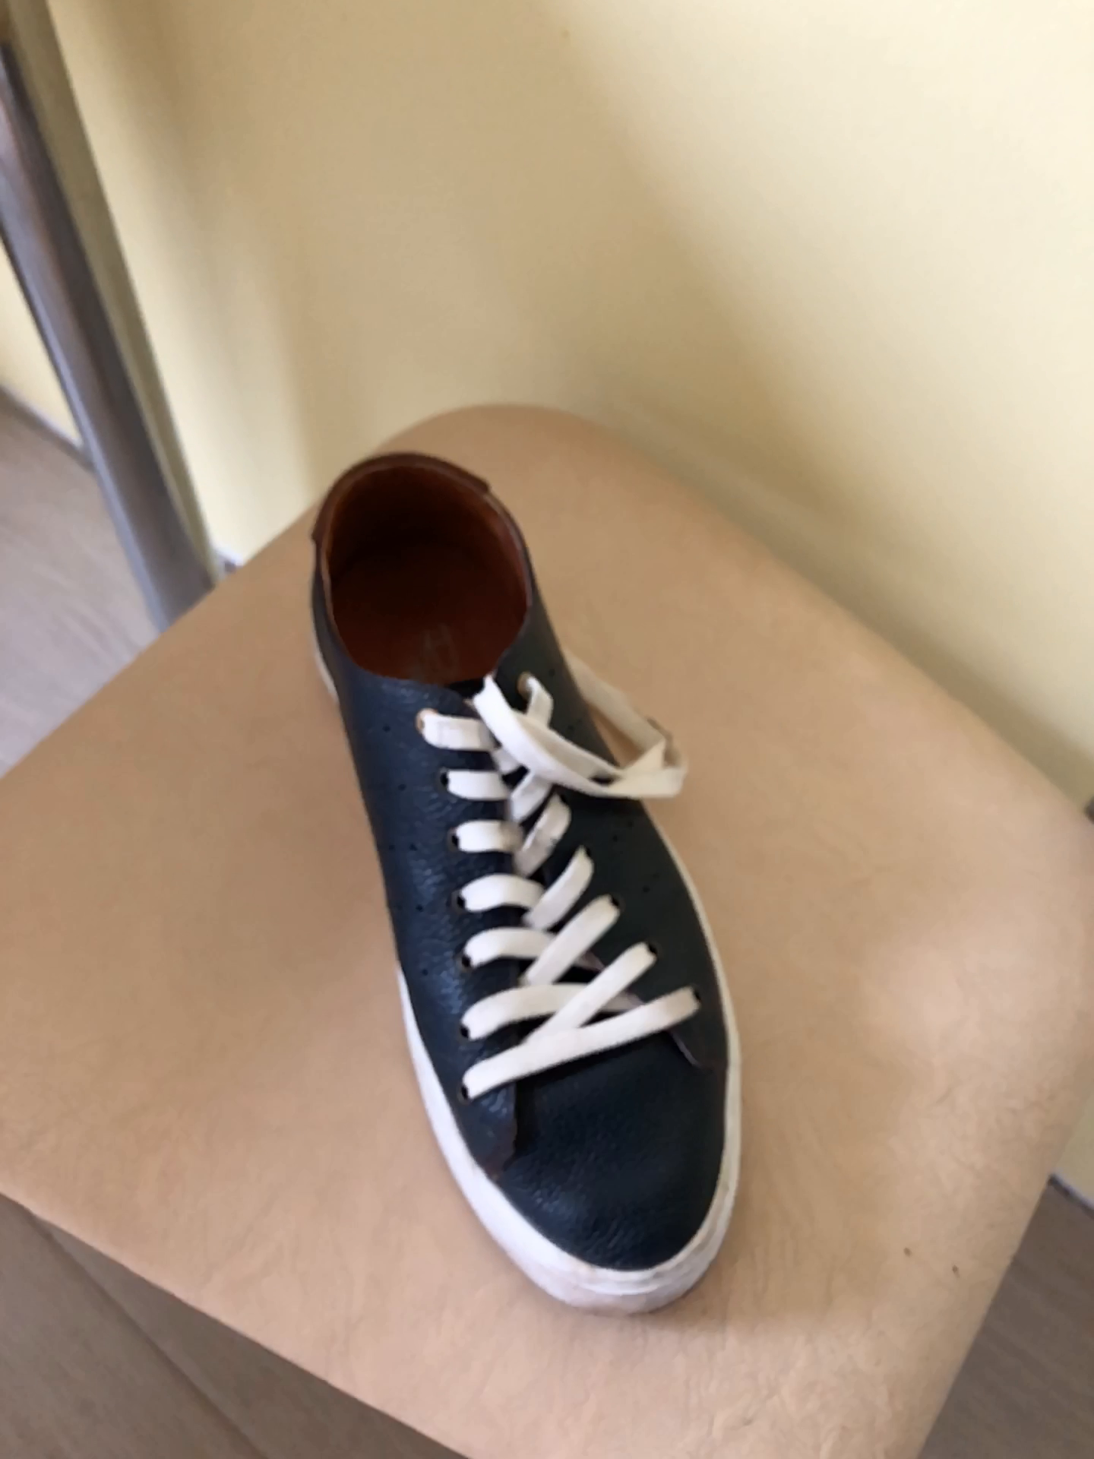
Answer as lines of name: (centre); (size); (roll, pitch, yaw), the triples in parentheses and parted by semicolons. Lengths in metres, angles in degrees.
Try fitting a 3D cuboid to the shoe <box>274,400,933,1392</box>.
shoe: (-0.002, 0.036, 0.396); (0.110, 0.089, 0.291); (-13, 60, -11)
